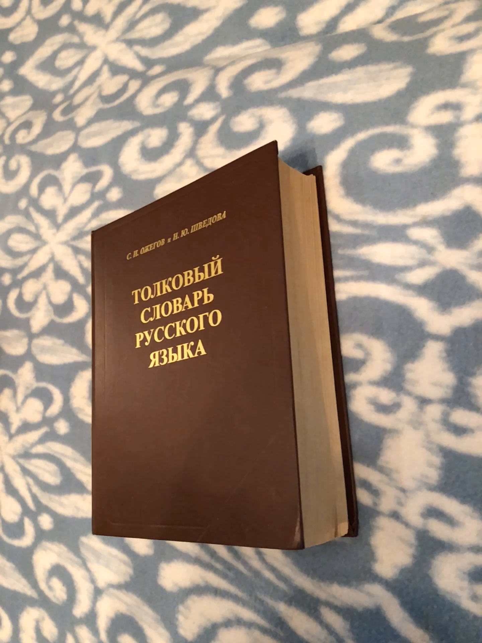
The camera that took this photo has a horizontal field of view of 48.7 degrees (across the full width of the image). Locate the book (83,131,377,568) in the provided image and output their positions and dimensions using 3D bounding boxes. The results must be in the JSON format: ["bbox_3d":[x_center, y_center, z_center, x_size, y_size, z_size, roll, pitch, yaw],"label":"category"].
[{"bbox_3d":[-0.026,0.030,0.415,0.221,0.067,0.270,-14,72,38],"label":"book"}]
